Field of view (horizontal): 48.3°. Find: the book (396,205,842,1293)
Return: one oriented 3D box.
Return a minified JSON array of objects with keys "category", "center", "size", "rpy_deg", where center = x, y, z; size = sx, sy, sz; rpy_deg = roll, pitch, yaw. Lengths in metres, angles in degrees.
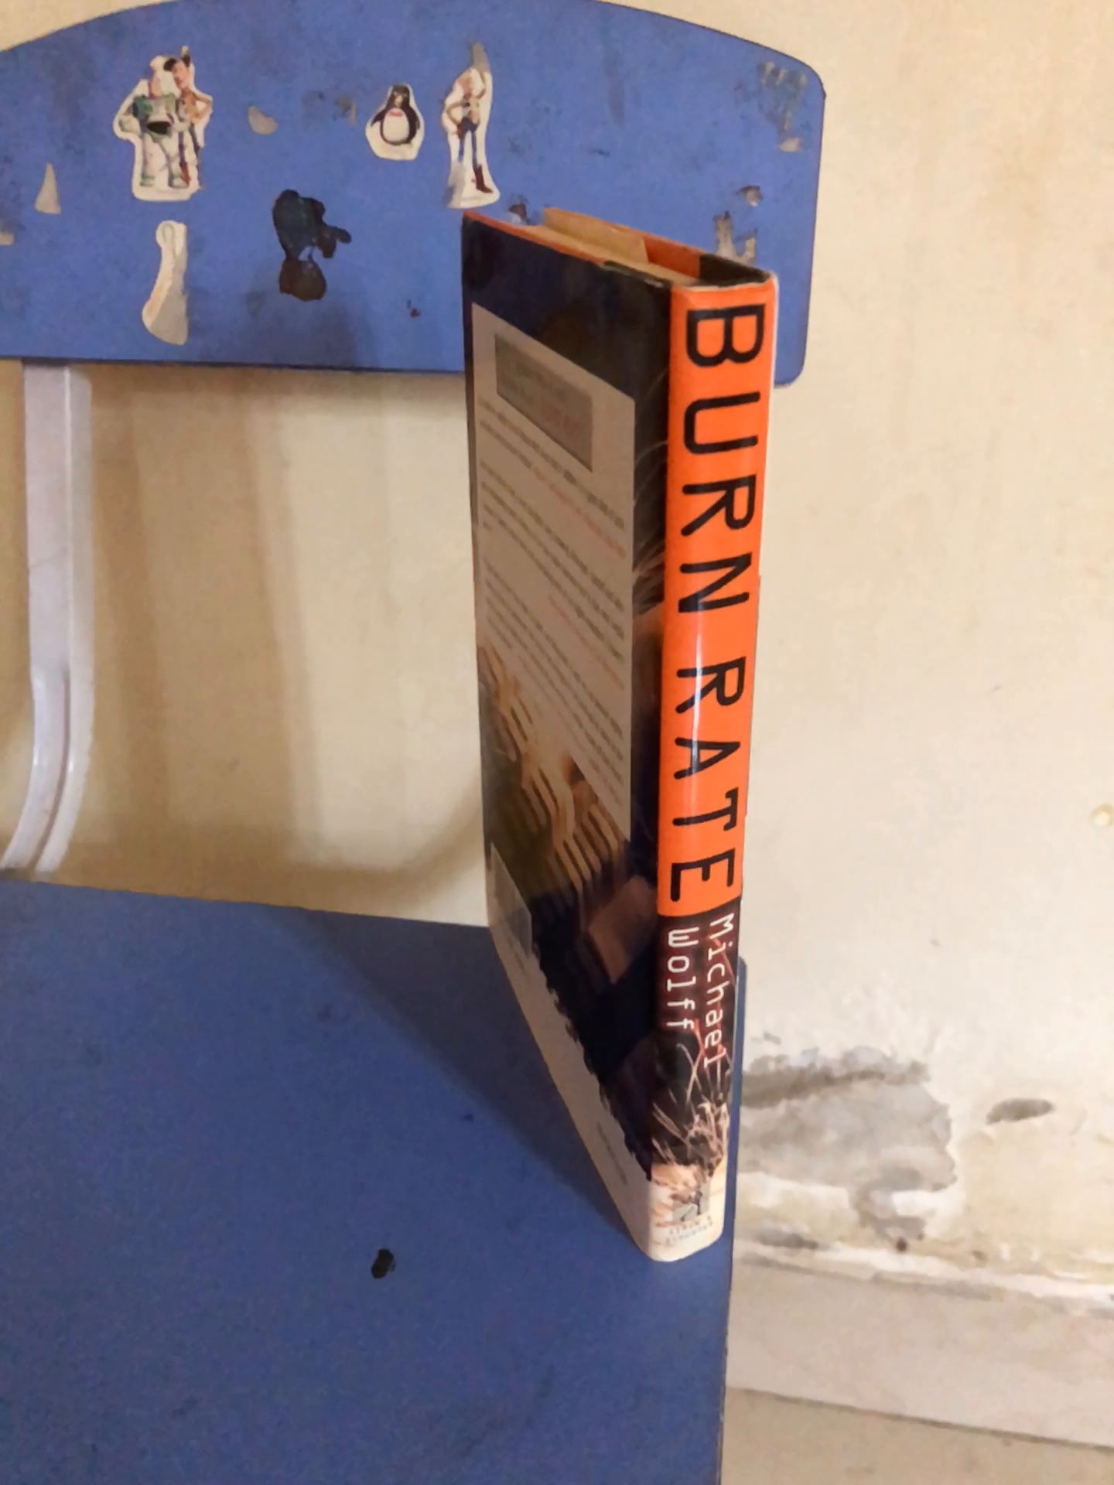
[{"category":"book","center":[0.003,-0.016,0.348],"size":[0.040,0.239,0.201],"rpy_deg":[-9,27,-15]}]
